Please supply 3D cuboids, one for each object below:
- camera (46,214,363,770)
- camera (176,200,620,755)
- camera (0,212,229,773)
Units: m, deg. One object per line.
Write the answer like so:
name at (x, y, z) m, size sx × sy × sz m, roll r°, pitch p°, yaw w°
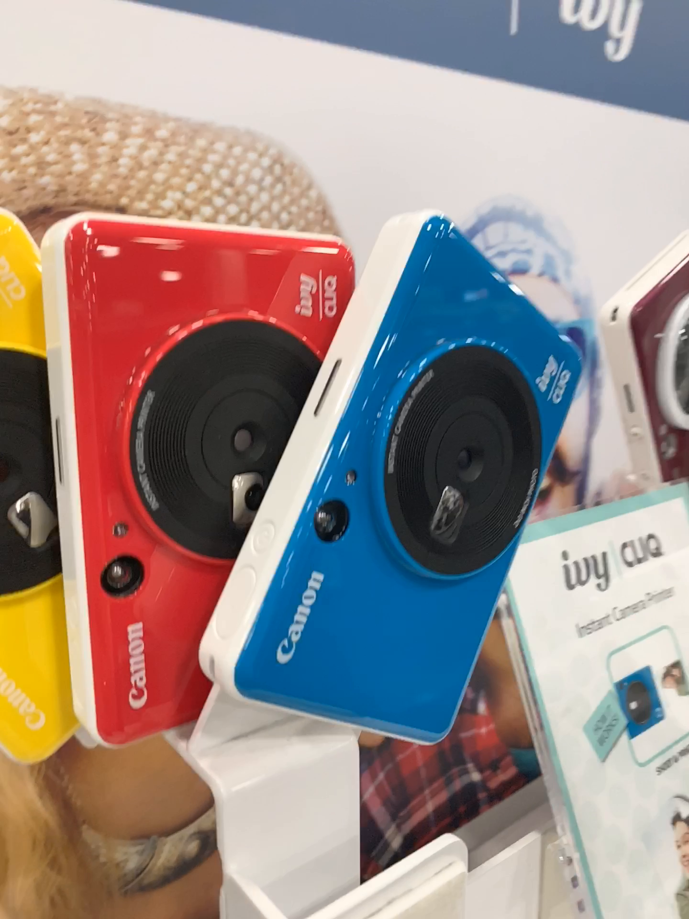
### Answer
camera at (-0.034, 0.006, 0.184) m, size 0.067 × 0.123 × 0.030 m, roll -6°, pitch 15°, yaw -33°
camera at (0.020, 0.008, 0.184) m, size 0.077 × 0.114 × 0.030 m, roll 31°, pitch -11°, yaw -39°
camera at (-0.089, 0.011, 0.183) m, size 0.068 × 0.123 × 0.030 m, roll -35°, pitch 34°, yaw -21°
